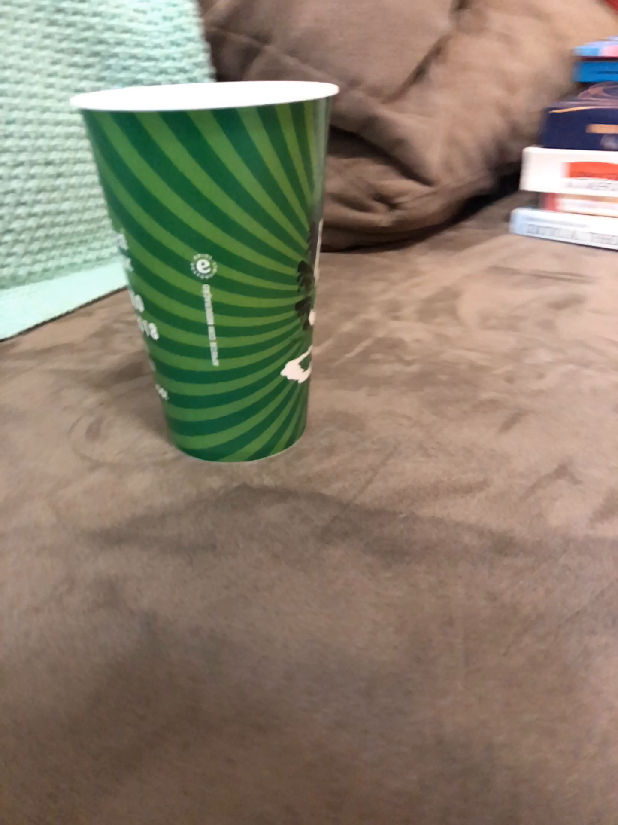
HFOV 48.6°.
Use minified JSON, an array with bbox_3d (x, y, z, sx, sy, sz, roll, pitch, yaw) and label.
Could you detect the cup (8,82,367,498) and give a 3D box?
[{"bbox_3d":[-0.032,-0.052,0.267,0.100,0.129,0.101,-3,28,1],"label":"cup"}]
